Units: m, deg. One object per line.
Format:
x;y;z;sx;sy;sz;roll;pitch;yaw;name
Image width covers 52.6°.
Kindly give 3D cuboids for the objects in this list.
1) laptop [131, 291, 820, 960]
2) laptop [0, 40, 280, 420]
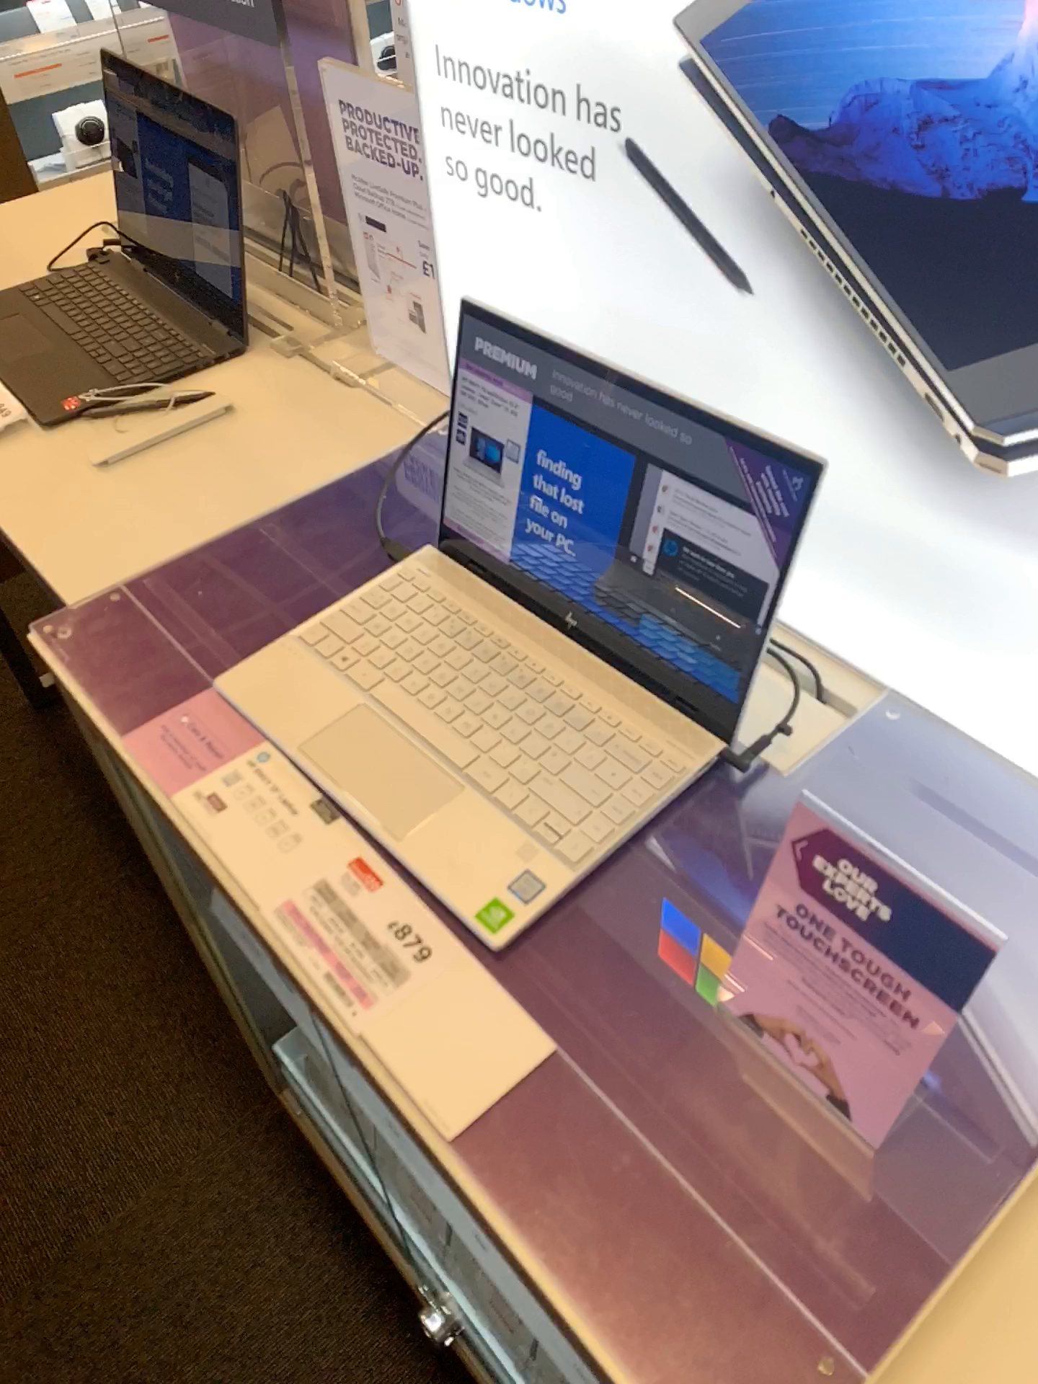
-0.027;-0.064;0.648;0.261;0.181;0.296;-36;54;-26;laptop
-0.524;-0.554;1.237;0.313;0.236;0.300;-35;56;-25;laptop
